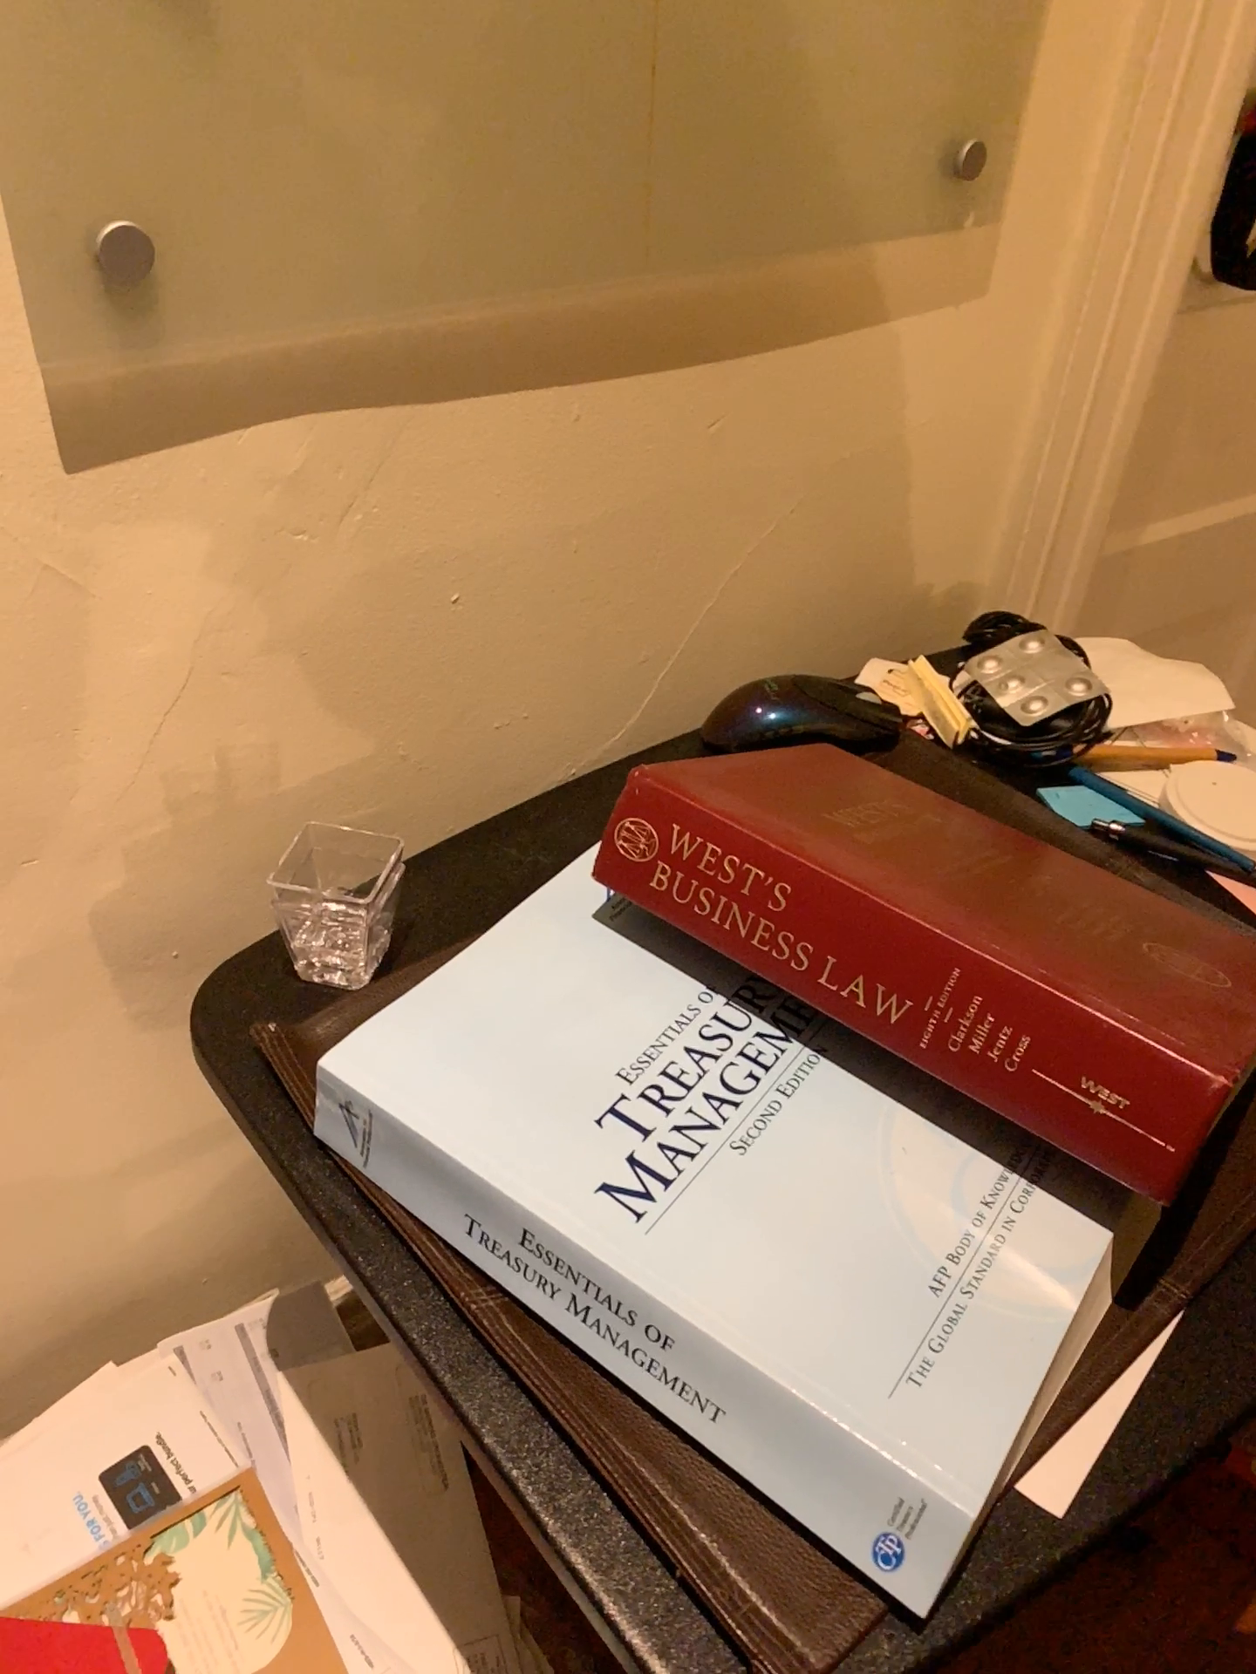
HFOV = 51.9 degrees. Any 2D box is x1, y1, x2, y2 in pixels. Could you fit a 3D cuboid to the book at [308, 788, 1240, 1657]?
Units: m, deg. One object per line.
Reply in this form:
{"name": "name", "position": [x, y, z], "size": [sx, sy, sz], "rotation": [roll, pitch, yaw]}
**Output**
{"name": "book", "position": [0.055, 0.112, 0.500], "size": [0.271, 0.070, 0.221], "rotation": [29, 44, 27]}

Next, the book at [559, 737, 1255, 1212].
{"name": "book", "position": [0.140, 0.034, 0.567], "size": [0.271, 0.050, 0.210], "rotation": [28, 19, 27]}
